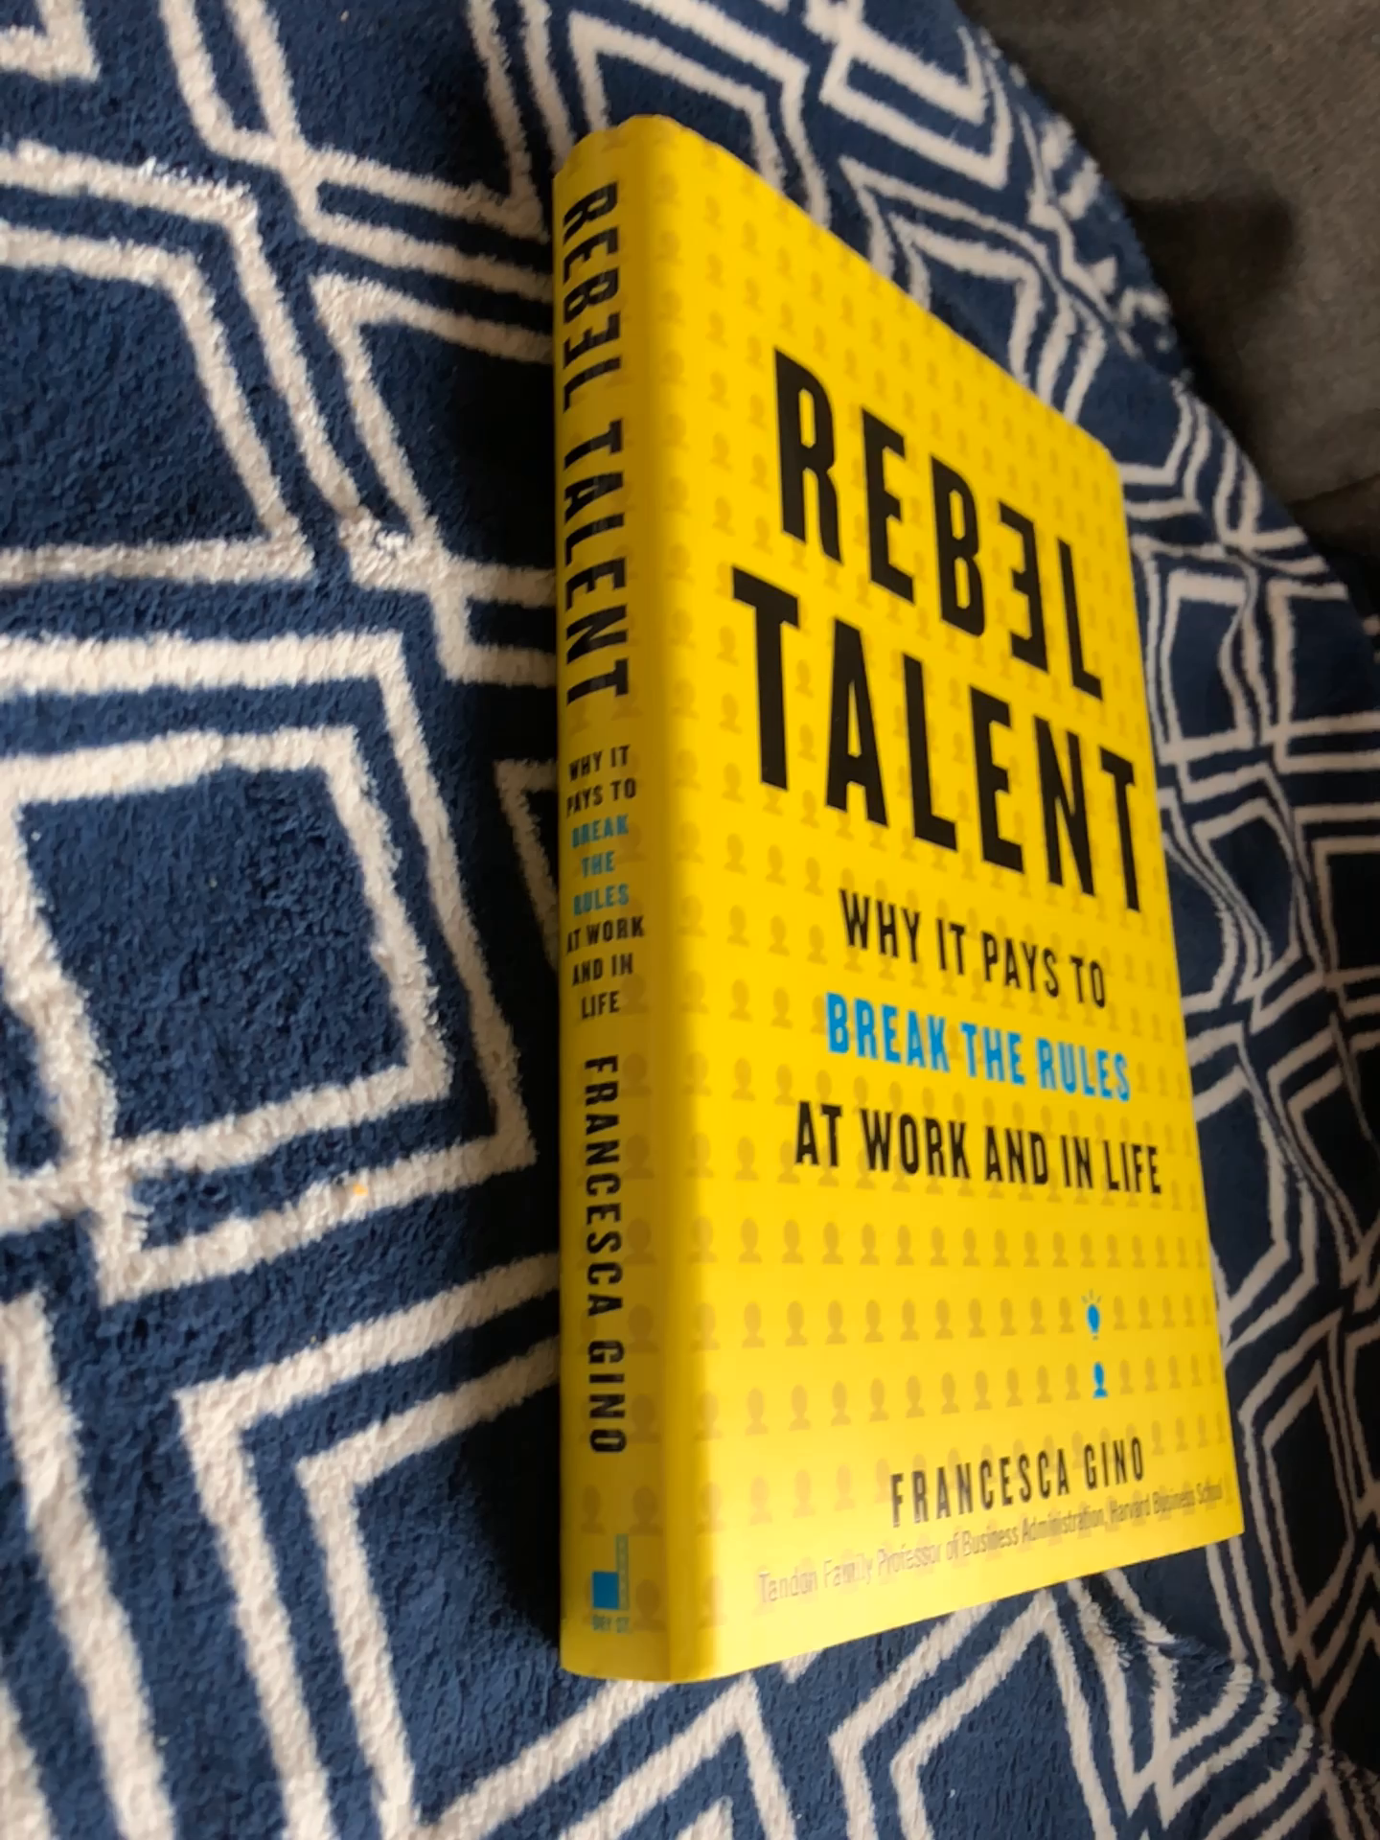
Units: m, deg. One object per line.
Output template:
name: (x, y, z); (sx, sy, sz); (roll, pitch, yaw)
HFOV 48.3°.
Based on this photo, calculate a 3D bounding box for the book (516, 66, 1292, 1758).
book: (0.044, -0.001, 0.278); (0.168, 0.032, 0.237); (14, 68, -47)
